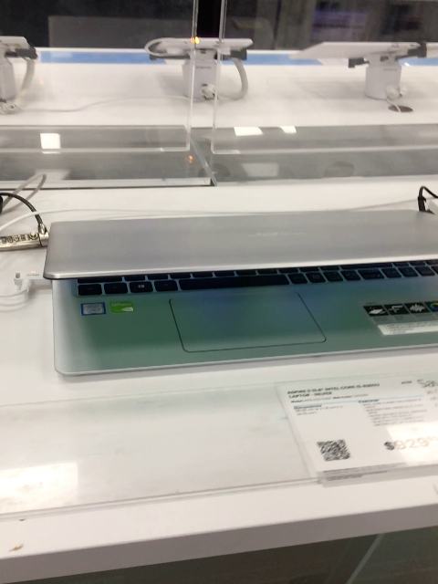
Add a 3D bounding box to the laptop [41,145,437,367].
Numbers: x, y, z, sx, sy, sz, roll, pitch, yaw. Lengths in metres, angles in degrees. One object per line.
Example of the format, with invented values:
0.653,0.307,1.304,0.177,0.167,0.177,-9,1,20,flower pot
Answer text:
0.054,-0.046,0.509,0.403,0.083,0.213,-4,38,-6,laptop
